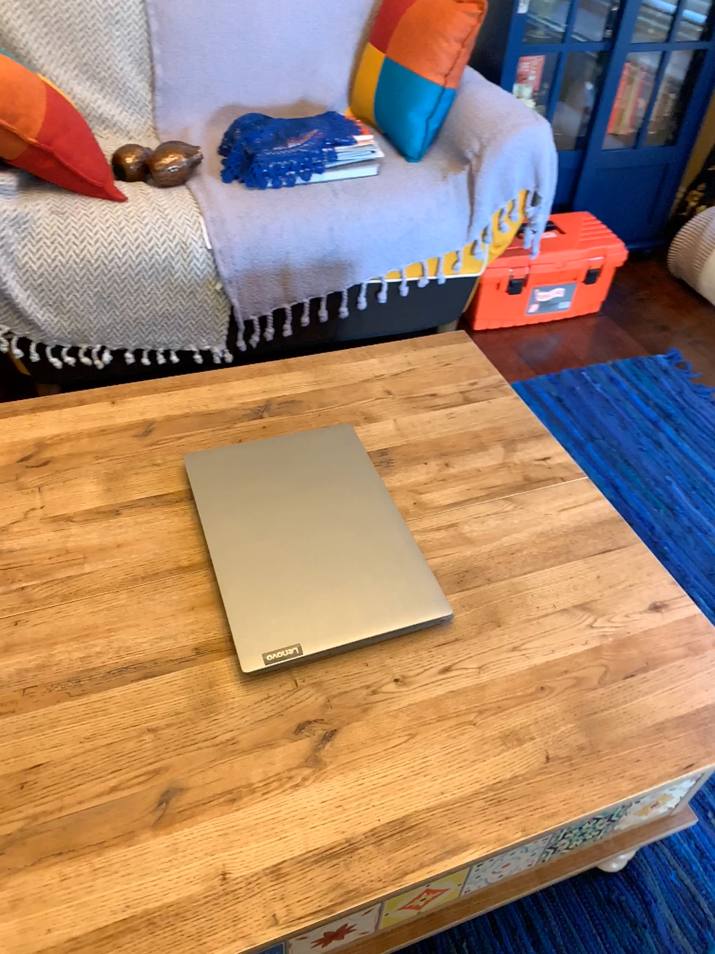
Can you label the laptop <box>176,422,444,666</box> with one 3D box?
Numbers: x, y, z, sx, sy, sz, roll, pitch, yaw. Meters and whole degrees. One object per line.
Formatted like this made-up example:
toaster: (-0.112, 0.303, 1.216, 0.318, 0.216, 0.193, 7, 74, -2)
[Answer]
laptop: (-0.074, 0.058, 0.908, 0.237, 0.011, 0.348, -11, 44, -18)
